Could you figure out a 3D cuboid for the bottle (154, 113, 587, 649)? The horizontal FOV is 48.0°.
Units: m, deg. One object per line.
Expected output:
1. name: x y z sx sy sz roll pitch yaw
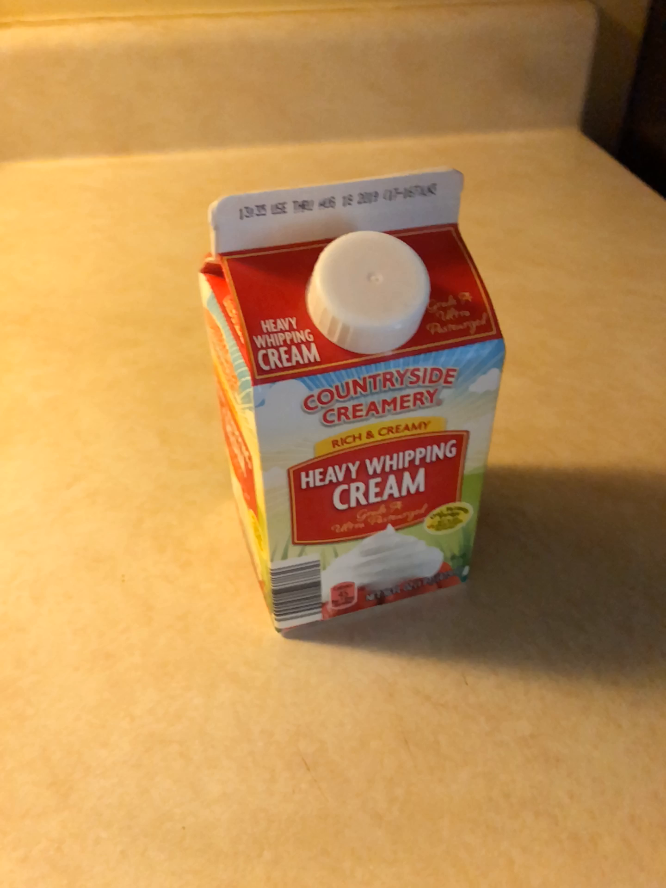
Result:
1. bottle: 0.004 -0.022 0.240 0.090 0.130 0.090 -1 38 1
